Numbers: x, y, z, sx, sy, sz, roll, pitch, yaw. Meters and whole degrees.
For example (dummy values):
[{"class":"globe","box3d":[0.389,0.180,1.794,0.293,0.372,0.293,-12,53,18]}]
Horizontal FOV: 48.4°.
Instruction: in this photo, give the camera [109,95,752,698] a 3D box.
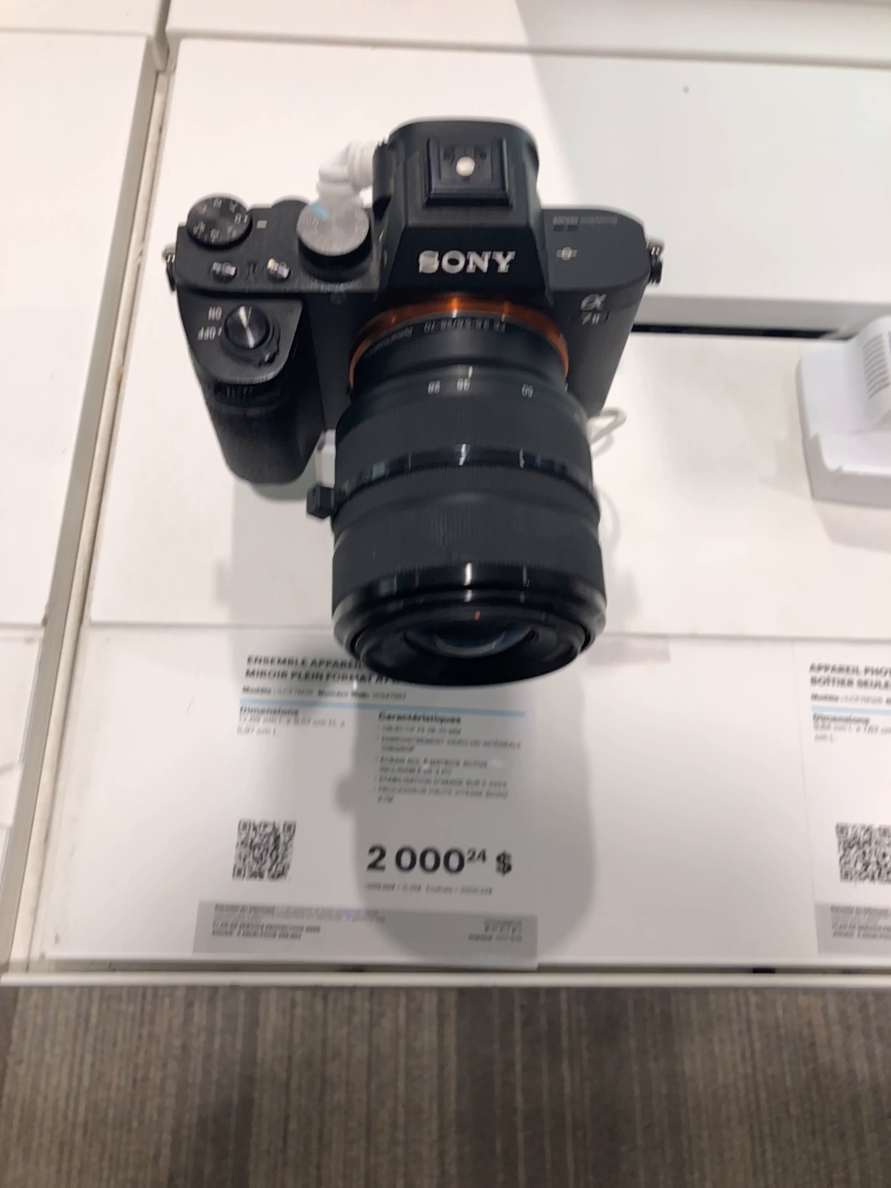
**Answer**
[{"class":"camera","box3d":[-0.006,-0.049,0.277,0.134,0.100,0.131,-1,67,-3]}]
